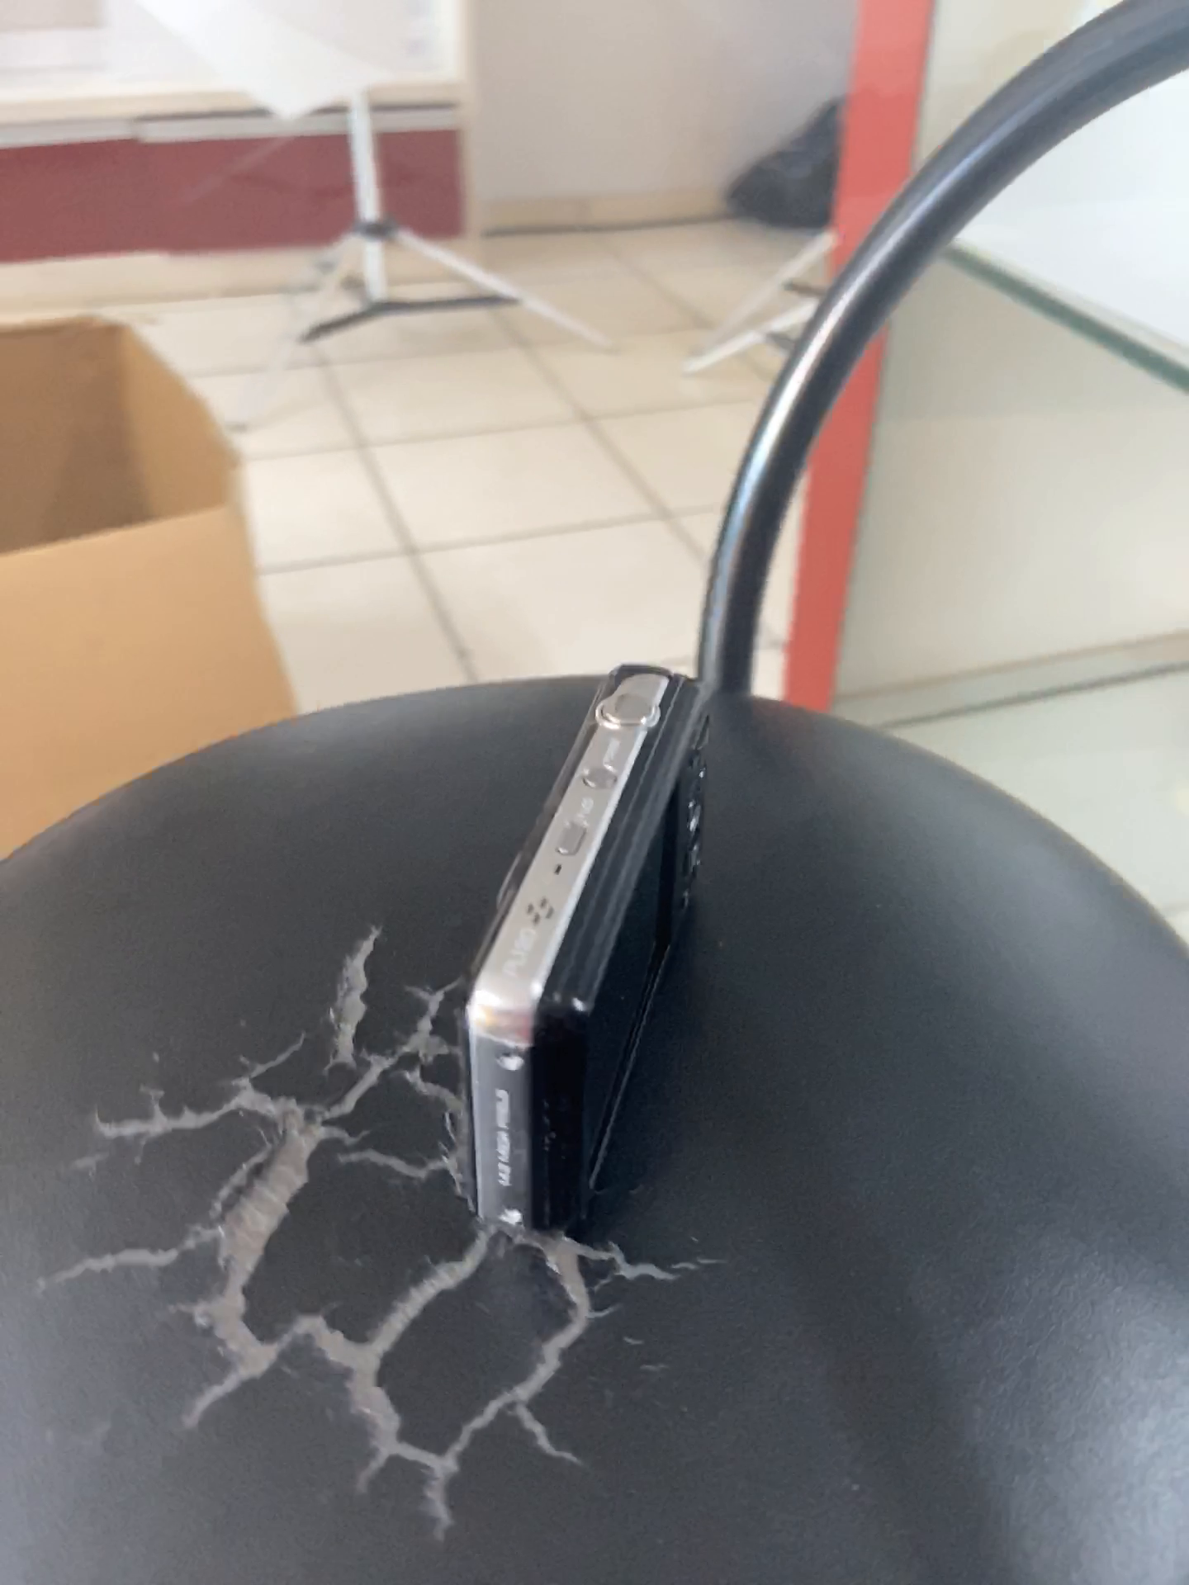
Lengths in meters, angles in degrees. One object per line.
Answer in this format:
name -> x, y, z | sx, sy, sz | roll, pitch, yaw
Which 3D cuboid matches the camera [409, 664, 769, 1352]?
camera -> 0.004, 0.028, 0.203 | 0.030, 0.050, 0.101 | 9, 38, 11
